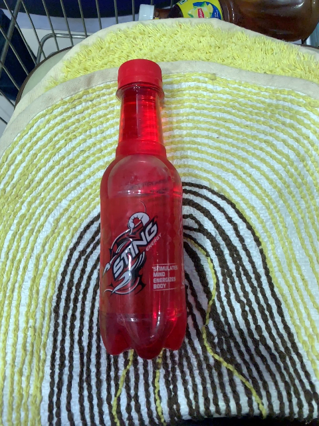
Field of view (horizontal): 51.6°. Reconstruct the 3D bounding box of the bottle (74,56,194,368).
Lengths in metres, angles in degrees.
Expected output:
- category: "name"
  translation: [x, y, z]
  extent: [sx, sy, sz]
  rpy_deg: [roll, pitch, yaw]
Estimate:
- category: "bottle"
  translation: [-0.016, -0.003, 0.201]
  extent: [0.060, 0.040, 0.170]
  rpy_deg: [-2, 84, -1]
